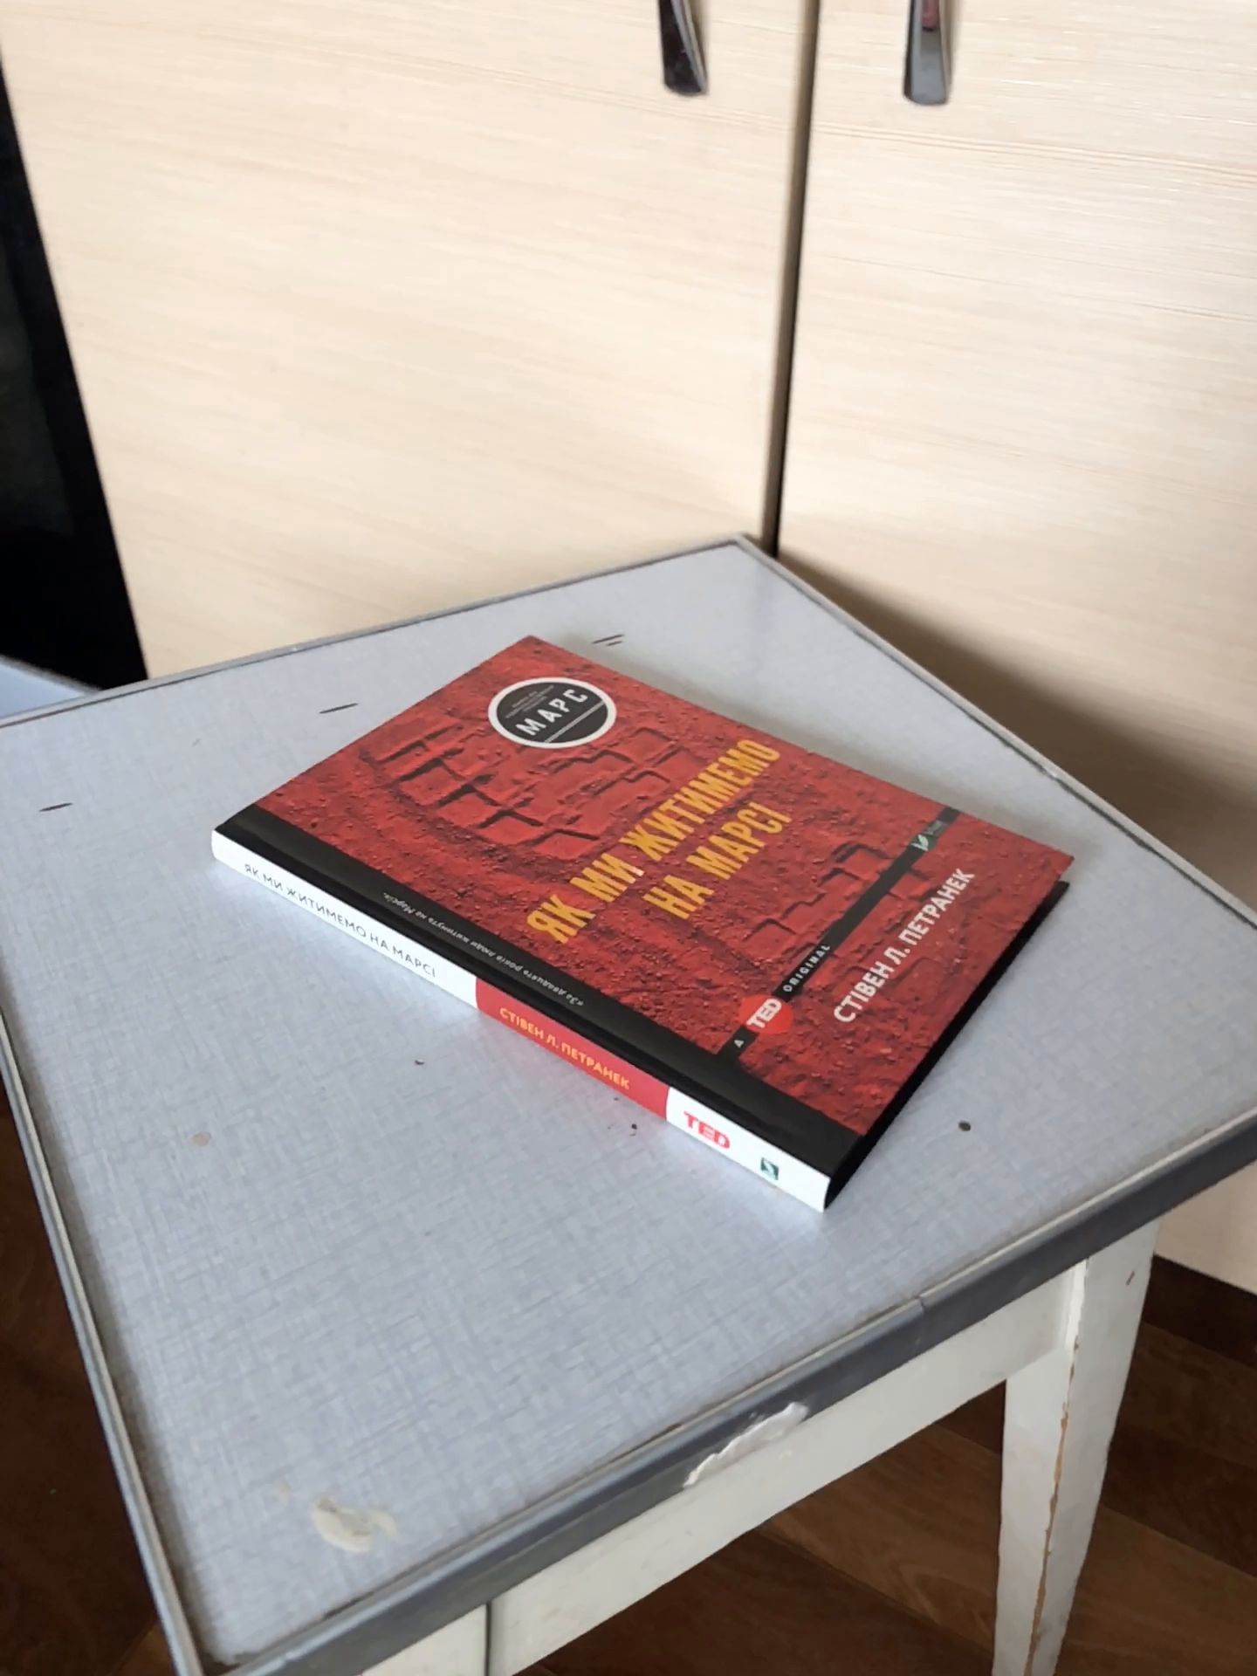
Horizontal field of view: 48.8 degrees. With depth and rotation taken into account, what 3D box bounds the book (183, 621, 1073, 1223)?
[{"bbox_3d":[-0.001,0.005,0.407,0.214,0.015,0.146,25,44,28],"label":"book"}]
